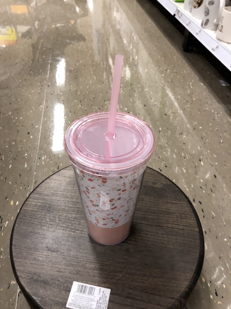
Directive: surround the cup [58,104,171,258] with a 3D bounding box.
[{"bbox_3d":[-0.007,0.035,0.313,0.090,0.149,0.090,1,42,-1],"label":"cup"}]
